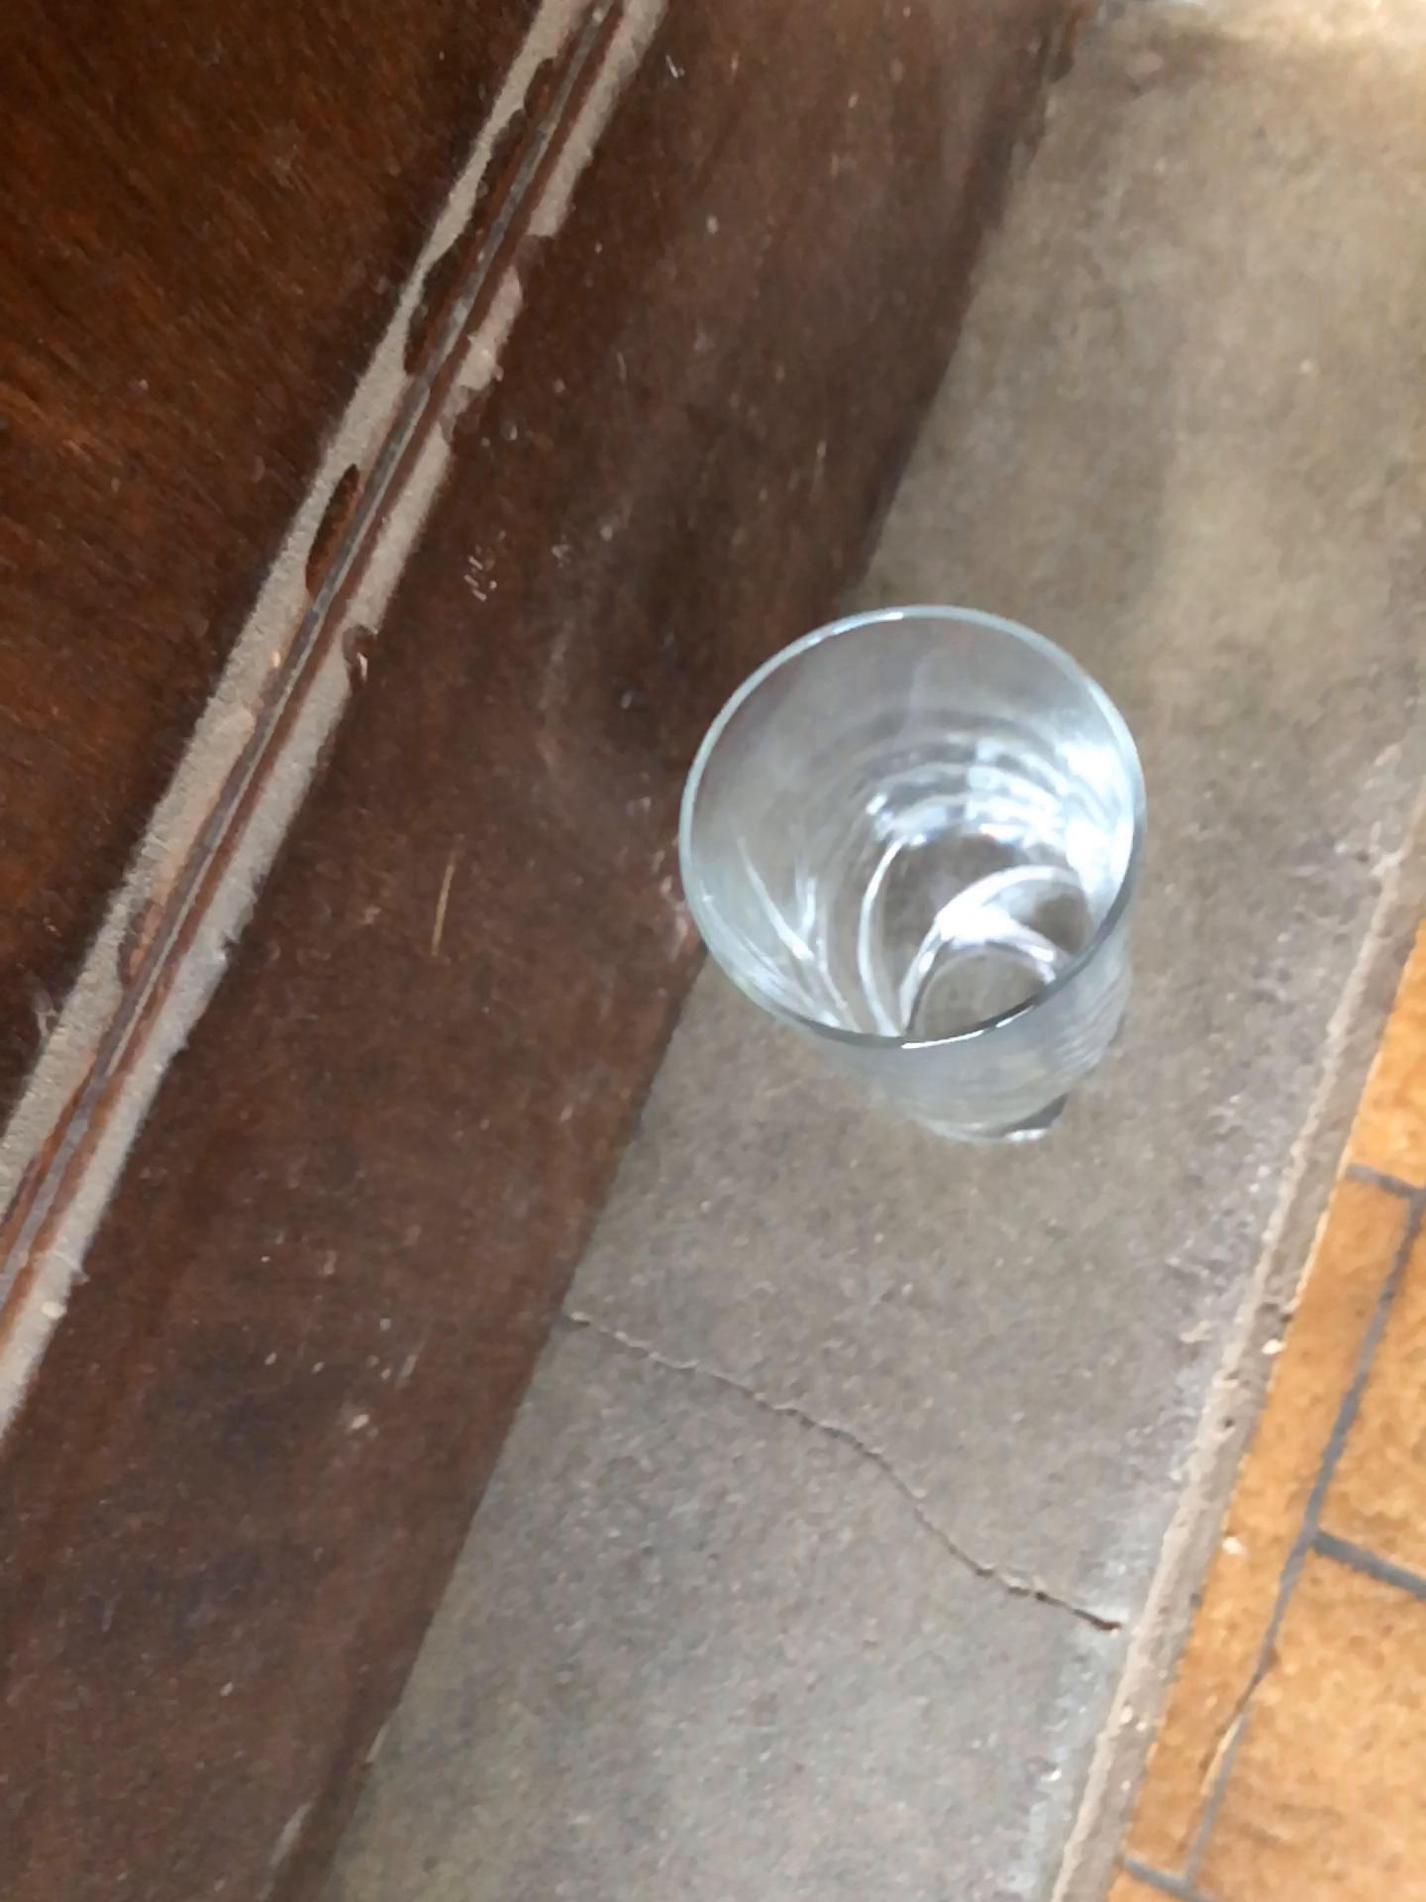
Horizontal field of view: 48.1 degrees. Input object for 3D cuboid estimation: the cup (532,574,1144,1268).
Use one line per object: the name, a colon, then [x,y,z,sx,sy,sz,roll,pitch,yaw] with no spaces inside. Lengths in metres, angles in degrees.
cup: [0.033,0.006,0.272,0.060,0.140,0.070,18,81,18]
